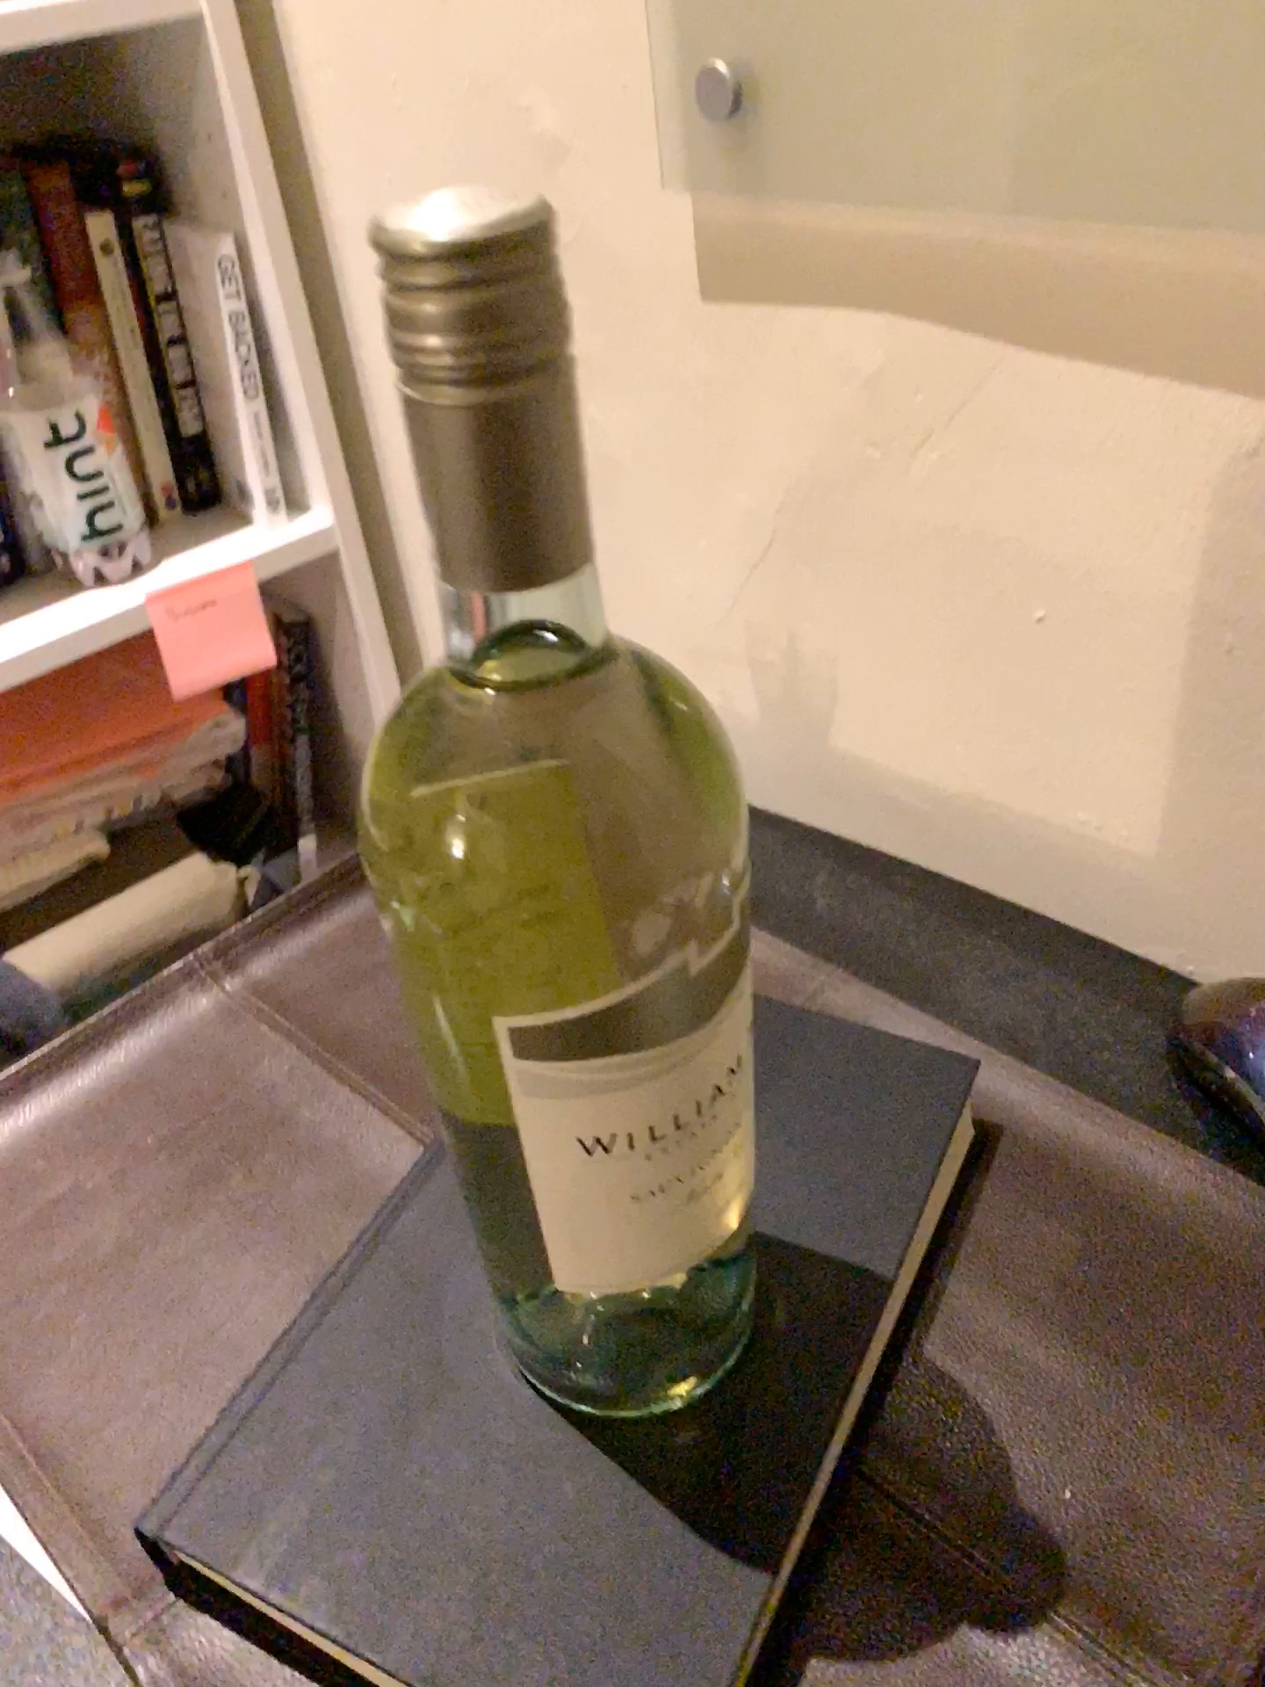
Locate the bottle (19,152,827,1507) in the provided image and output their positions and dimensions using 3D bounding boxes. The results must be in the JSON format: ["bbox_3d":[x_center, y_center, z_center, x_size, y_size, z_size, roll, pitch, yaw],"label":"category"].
[{"bbox_3d":[-0.022,0.015,0.303,0.090,0.298,0.090,-5,36,4],"label":"bottle"}]
